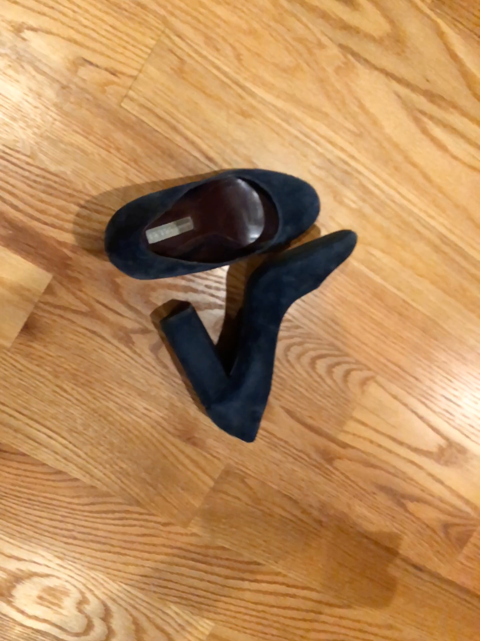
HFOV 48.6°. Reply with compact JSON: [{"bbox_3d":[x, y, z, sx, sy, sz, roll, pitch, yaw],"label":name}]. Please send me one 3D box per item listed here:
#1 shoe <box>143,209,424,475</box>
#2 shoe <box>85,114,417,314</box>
[{"bbox_3d":[0.039,0.014,0.501,0.204,0.080,0.152,-31,105,-6],"label":"shoe"},{"bbox_3d":[0.001,-0.089,0.443,0.226,0.147,0.080,-18,104,-9],"label":"shoe"}]
